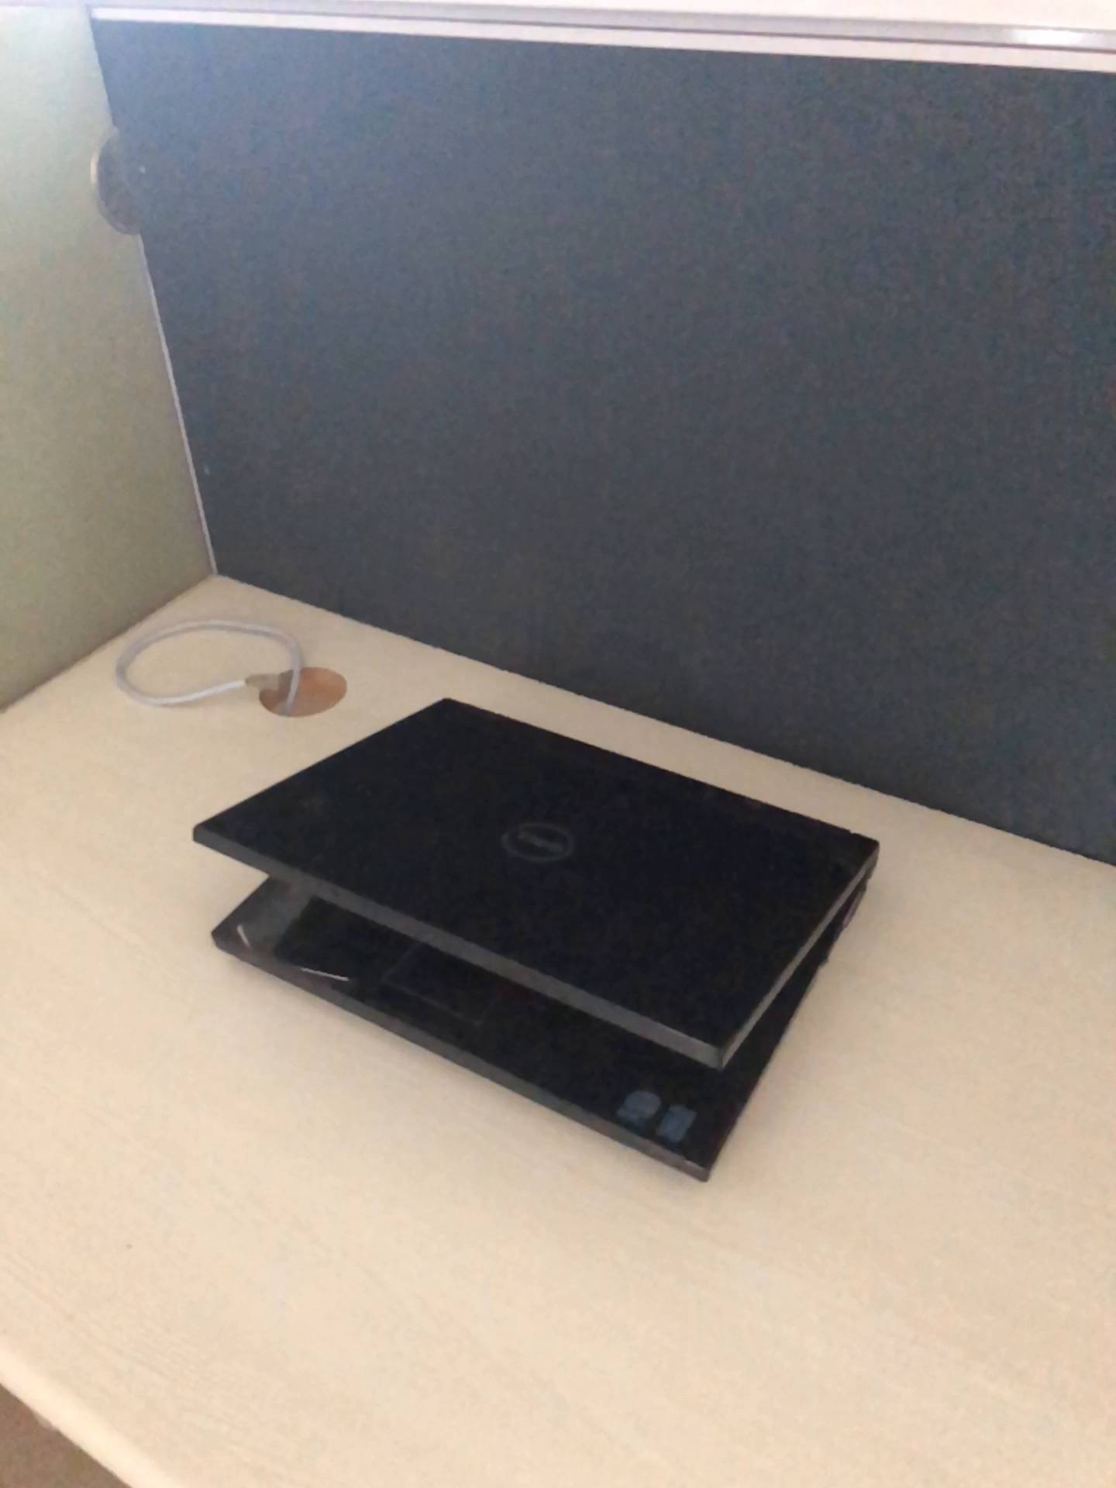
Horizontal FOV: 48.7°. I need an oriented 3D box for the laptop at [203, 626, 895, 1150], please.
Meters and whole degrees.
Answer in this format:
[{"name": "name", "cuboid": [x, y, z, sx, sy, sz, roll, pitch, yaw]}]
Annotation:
[{"name": "laptop", "cuboid": [-0.001, 0.056, 0.695, 0.303, 0.064, 0.231, 18, 44, 25]}]
